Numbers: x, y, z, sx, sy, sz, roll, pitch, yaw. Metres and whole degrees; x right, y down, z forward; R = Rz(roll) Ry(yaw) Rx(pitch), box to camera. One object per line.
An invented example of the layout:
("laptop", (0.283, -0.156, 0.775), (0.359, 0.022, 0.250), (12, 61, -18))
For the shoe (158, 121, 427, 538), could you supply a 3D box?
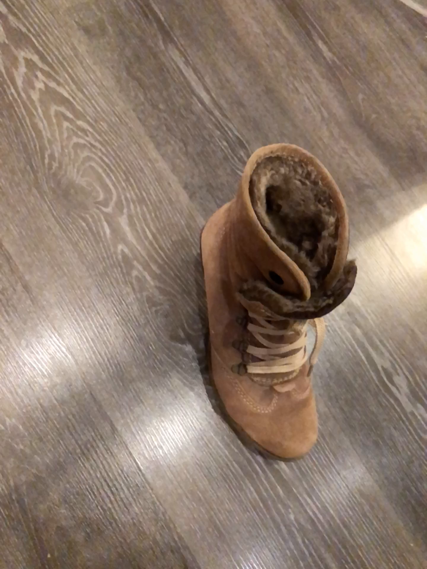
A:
("shoe", (0.052, 0.036, 0.377), (0.100, 0.189, 0.240), (-14, 78, -19))
